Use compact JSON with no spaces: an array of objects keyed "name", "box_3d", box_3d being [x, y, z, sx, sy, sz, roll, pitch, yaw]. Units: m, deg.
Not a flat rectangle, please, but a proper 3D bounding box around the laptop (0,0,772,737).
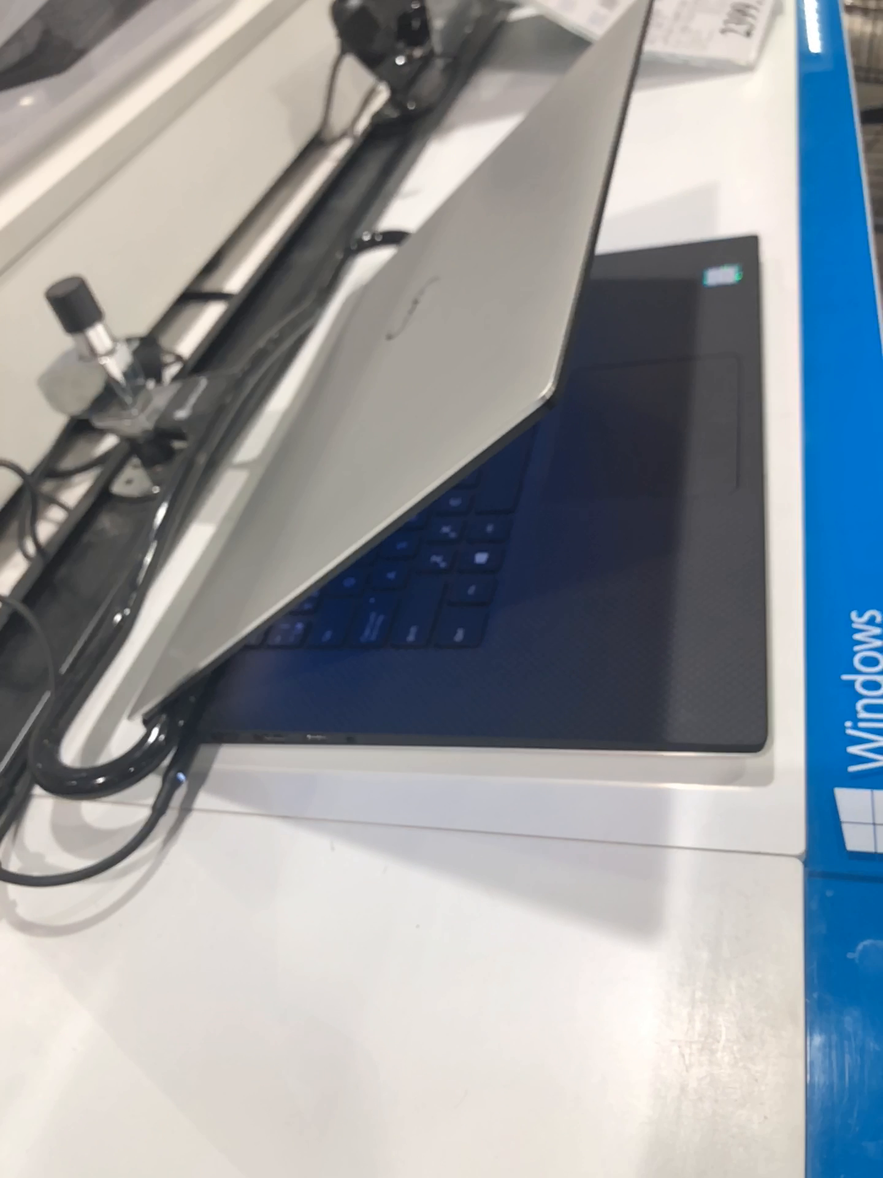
[{"name":"laptop","box_3d":[0.017,-0.118,0.419,0.216,0.133,0.347,-2,43,17]}]
